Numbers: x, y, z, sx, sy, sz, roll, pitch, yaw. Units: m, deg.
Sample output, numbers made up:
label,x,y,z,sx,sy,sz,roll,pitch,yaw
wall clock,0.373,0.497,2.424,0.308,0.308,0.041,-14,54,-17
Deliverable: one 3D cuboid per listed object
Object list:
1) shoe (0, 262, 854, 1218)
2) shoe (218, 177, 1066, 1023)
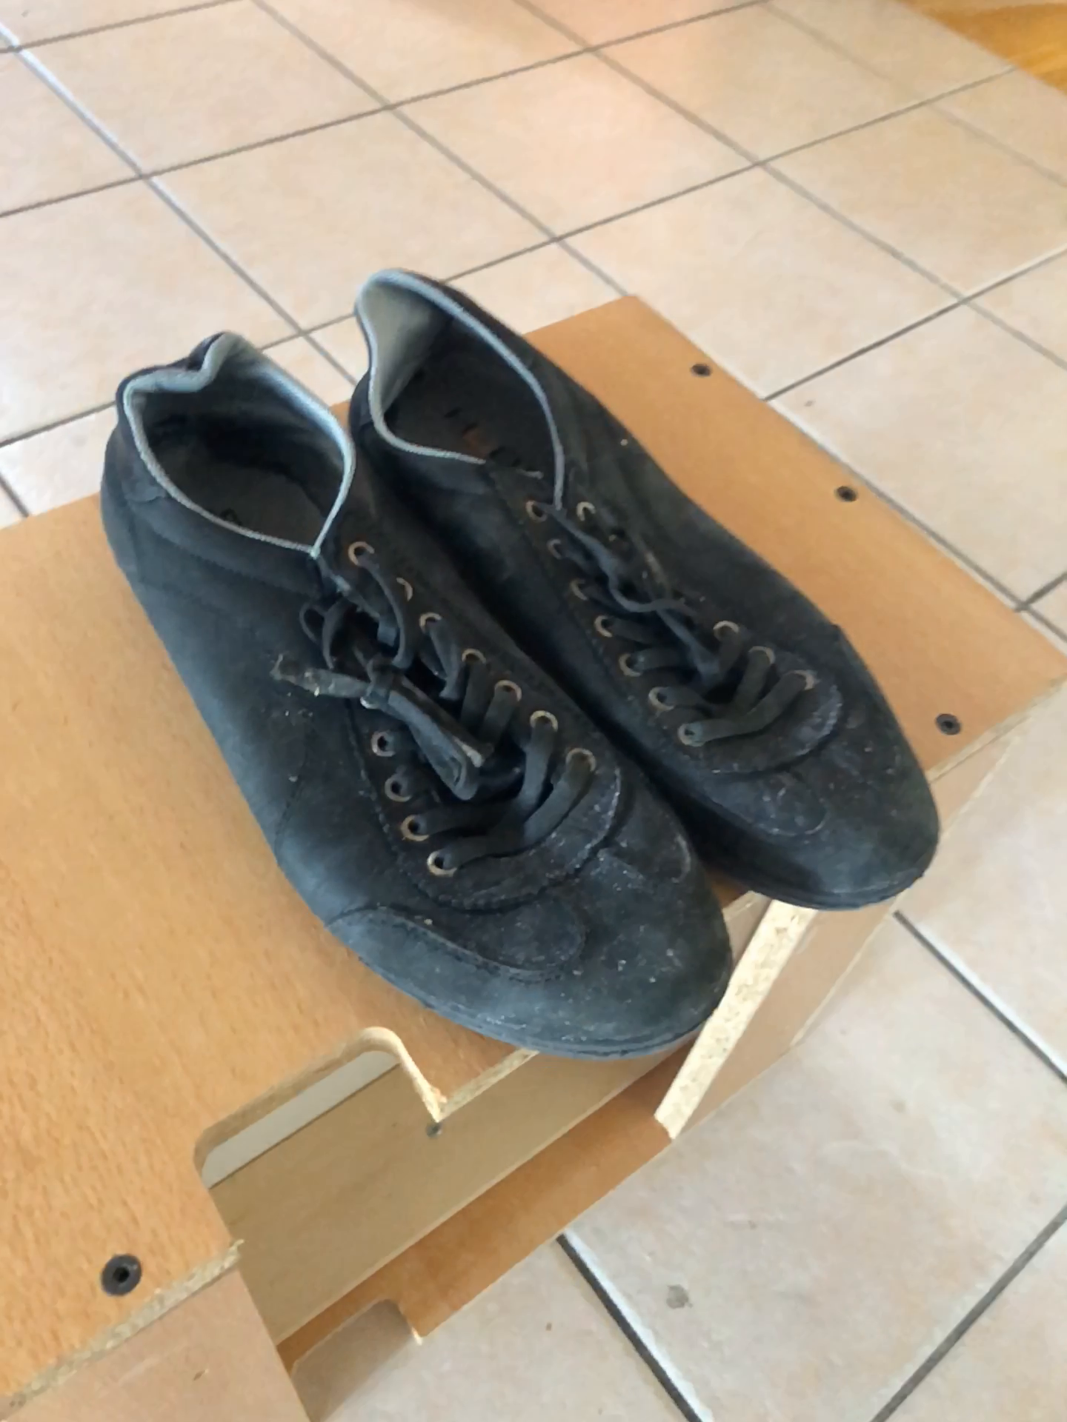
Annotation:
label,x,y,z,sx,sy,sz,roll,pitch,yaw
shoe,-0.060,-0.011,0.374,0.110,0.089,0.301,-31,63,-26
shoe,0.024,-0.058,0.414,0.110,0.089,0.311,-31,63,-26
